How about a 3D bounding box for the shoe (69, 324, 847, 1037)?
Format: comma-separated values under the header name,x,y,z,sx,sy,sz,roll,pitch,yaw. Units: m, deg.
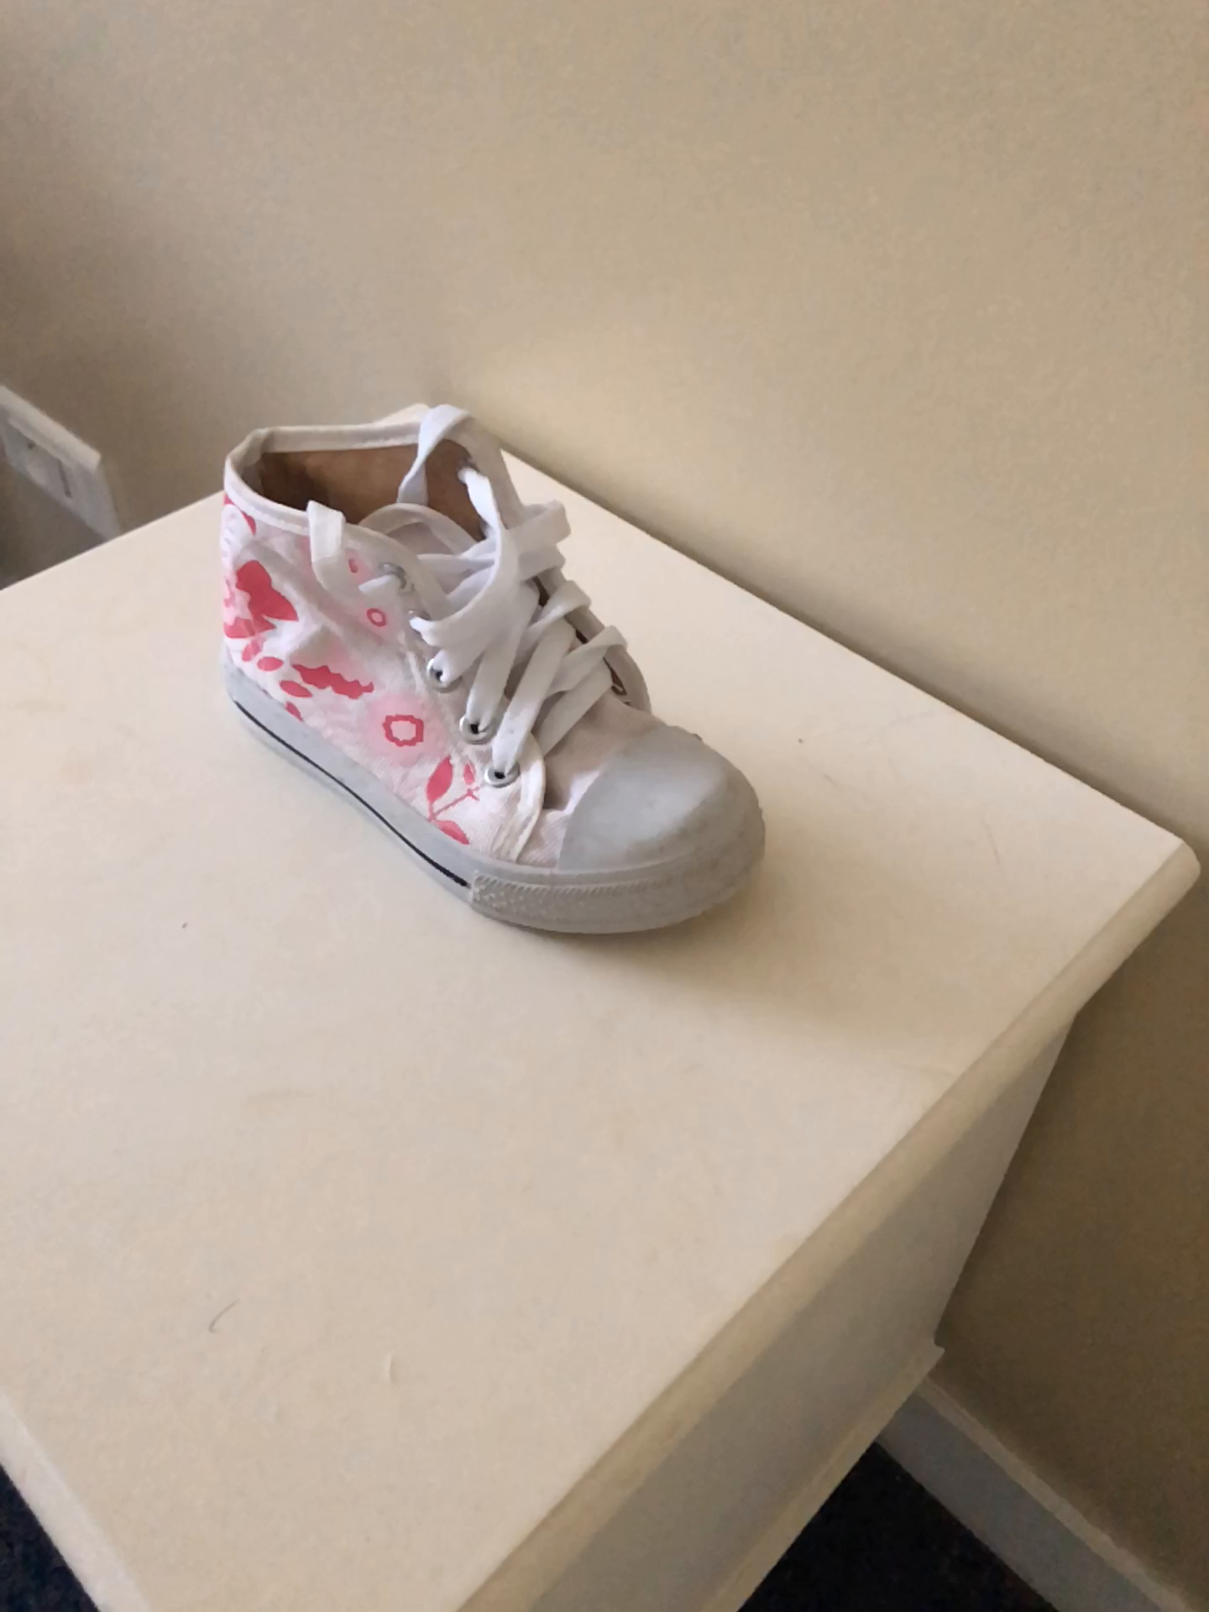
name,x,y,z,sx,sy,sz,roll,pitch,yaw
shoe,-0.043,-0.042,0.366,0.190,0.099,0.080,31,52,26
